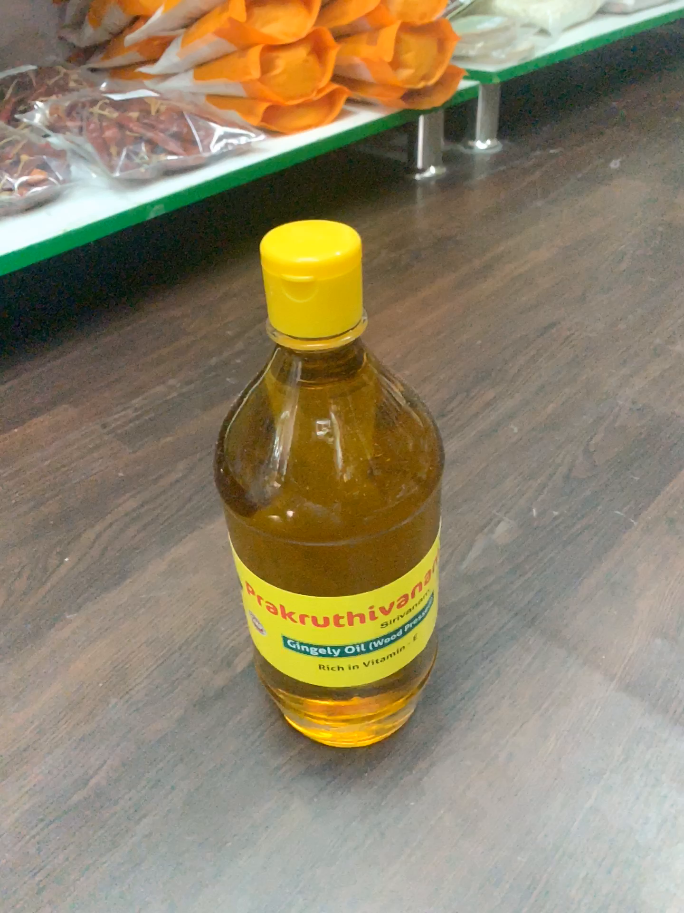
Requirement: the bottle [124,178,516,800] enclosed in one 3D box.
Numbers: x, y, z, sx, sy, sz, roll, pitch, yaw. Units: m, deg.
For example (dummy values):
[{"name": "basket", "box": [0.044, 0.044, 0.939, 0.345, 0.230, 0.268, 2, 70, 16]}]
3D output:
[{"name": "bottle", "box": [-0.006, 0.024, 0.277, 0.090, 0.219, 0.090, -3, 39, 2]}]
